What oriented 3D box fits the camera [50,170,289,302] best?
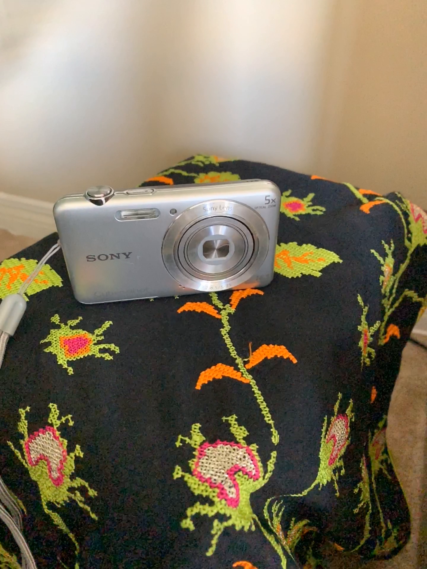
[{"bbox_3d":[-0.016,-0.020,0.181,0.086,0.042,0.020,-5,37,-6],"label":"camera"}]
